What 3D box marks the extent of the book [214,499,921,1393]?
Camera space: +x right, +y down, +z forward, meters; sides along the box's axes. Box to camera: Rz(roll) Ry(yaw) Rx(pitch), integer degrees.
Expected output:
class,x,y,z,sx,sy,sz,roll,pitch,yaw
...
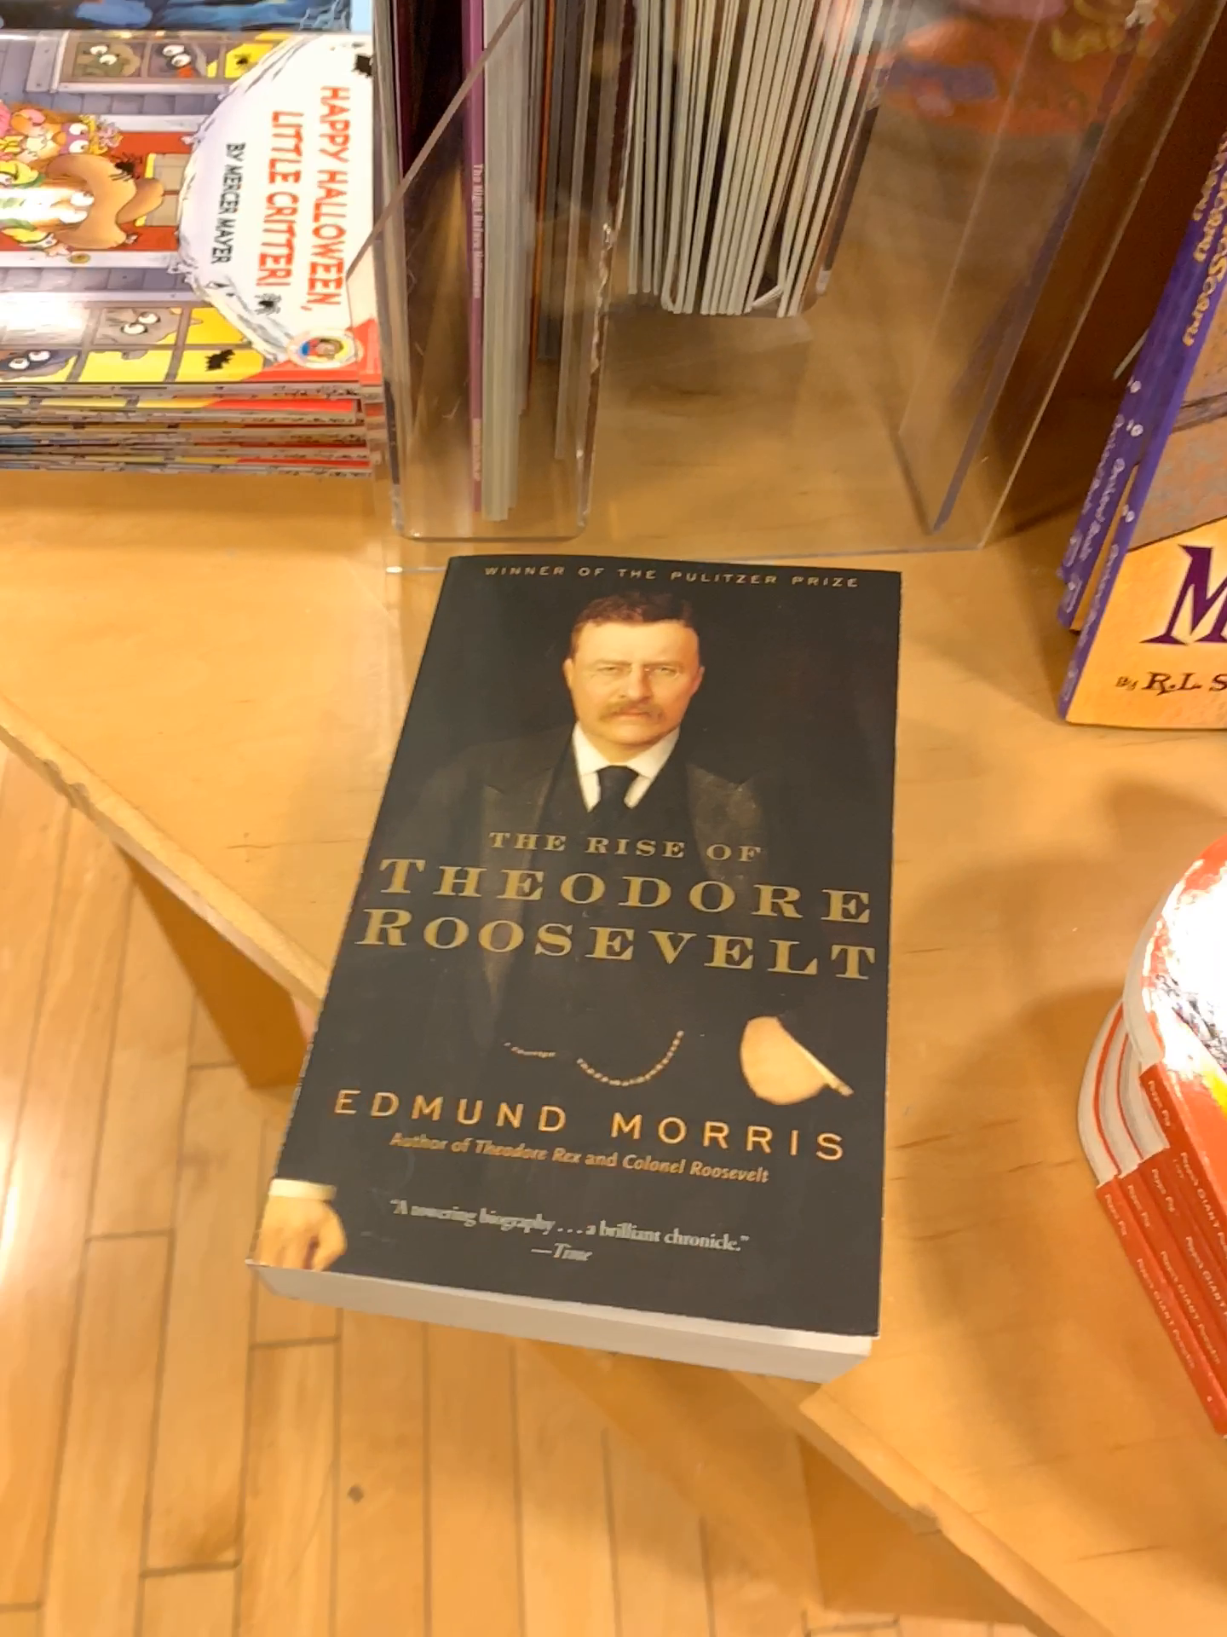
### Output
class,x,y,z,sx,sy,sz,roll,pitch,yaw
book,0.001,0.023,0.317,0.130,0.066,0.195,9,59,2
